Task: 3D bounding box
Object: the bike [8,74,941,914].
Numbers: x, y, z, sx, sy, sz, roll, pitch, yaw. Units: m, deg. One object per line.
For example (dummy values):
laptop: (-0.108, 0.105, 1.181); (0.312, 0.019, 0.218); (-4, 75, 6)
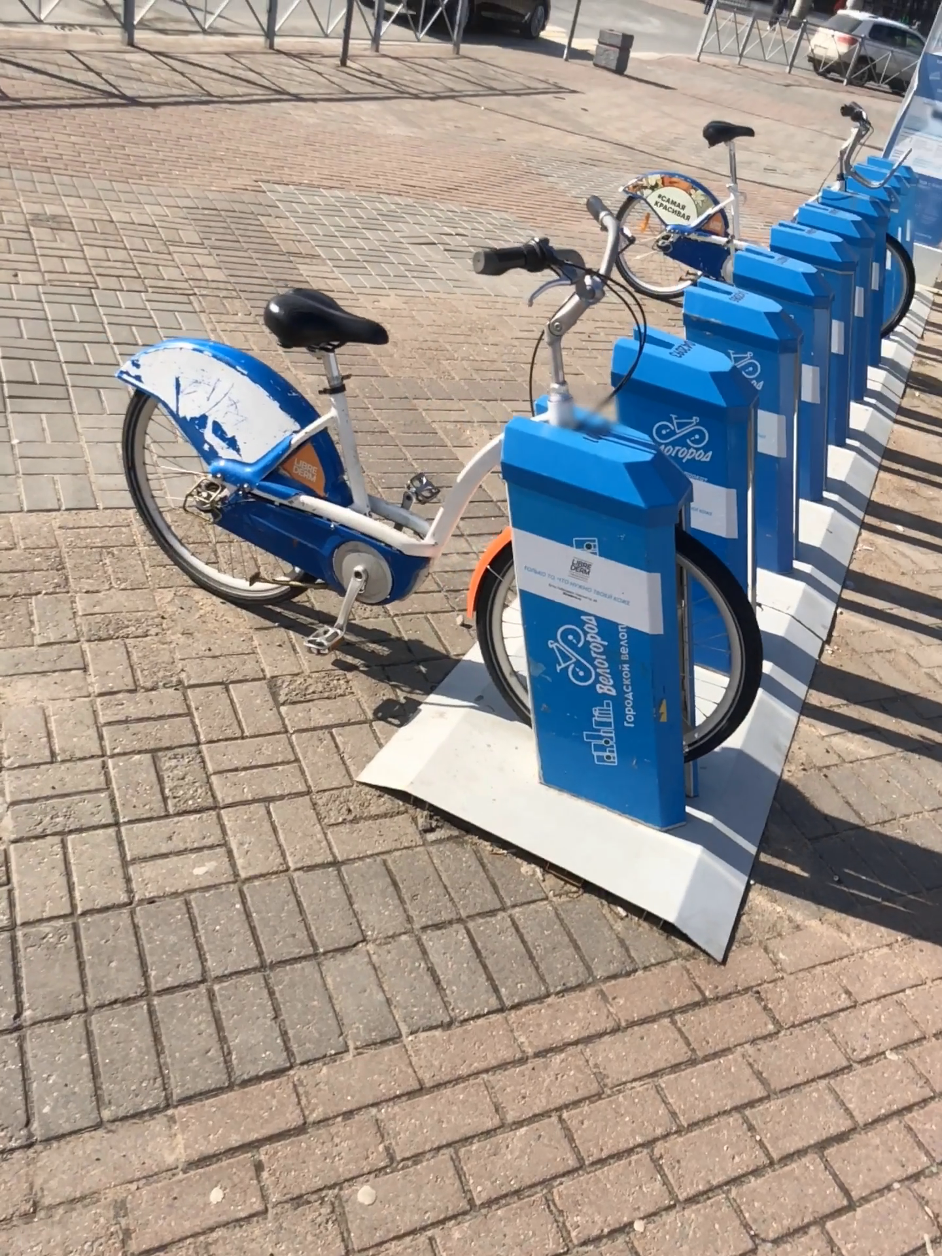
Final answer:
bike: (-0.070, -0.364, 2.184); (1.675, 1.233, 0.685); (22, 34, 17)
